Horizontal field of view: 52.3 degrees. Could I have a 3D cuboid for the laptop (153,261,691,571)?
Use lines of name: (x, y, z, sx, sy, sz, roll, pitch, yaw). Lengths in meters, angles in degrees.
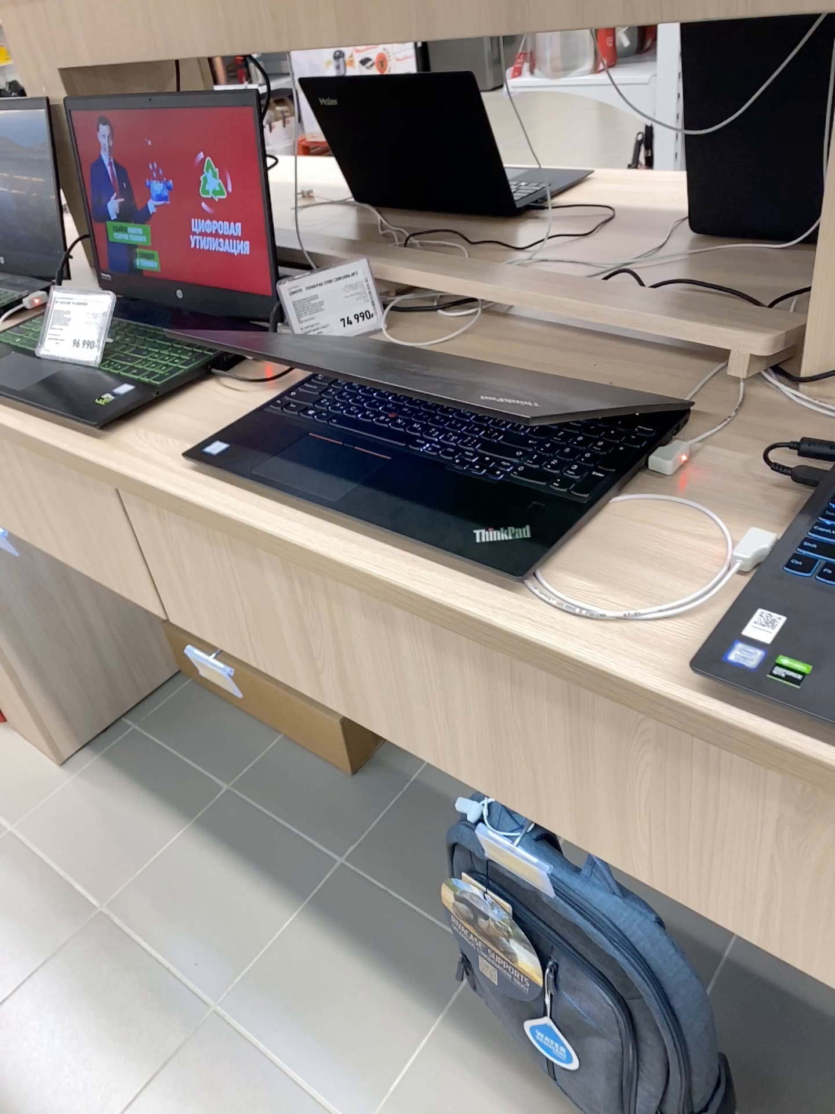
laptop: (-0.004, -0.144, 0.703, 0.370, 0.093, 0.240, 20, 46, 37)
